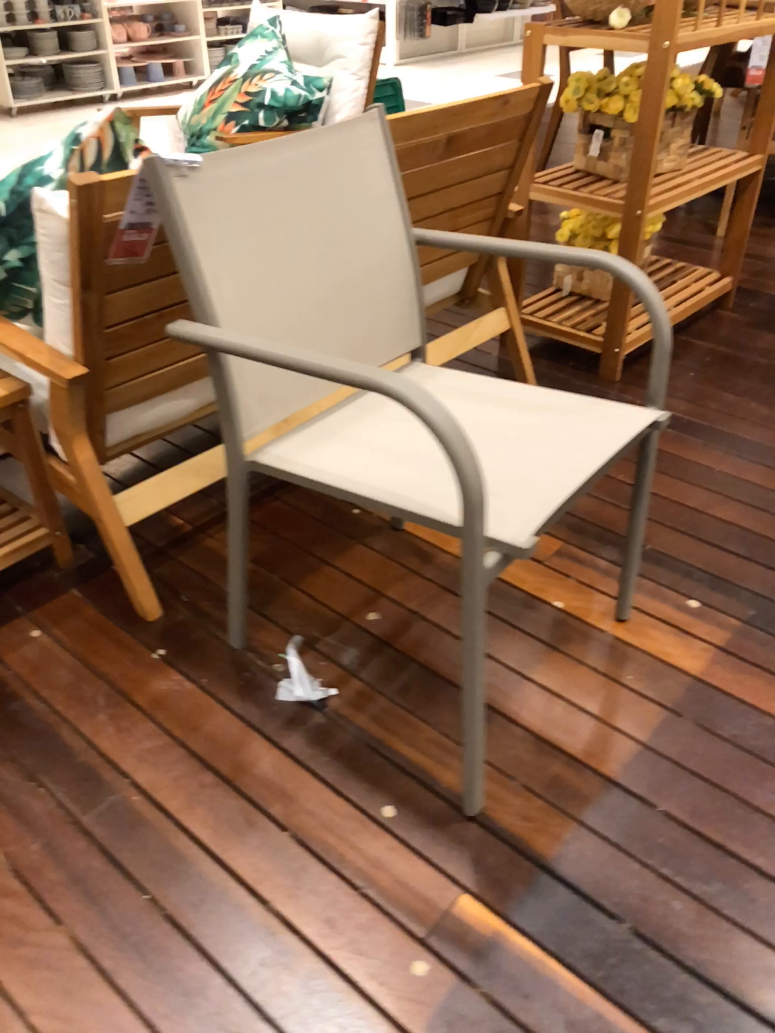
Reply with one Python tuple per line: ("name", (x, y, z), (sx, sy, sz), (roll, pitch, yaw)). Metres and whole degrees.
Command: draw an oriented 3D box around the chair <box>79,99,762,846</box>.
("chair", (0.060, -0.126, 1.296), (0.612, 0.794, 0.623), (24, 41, 31))
